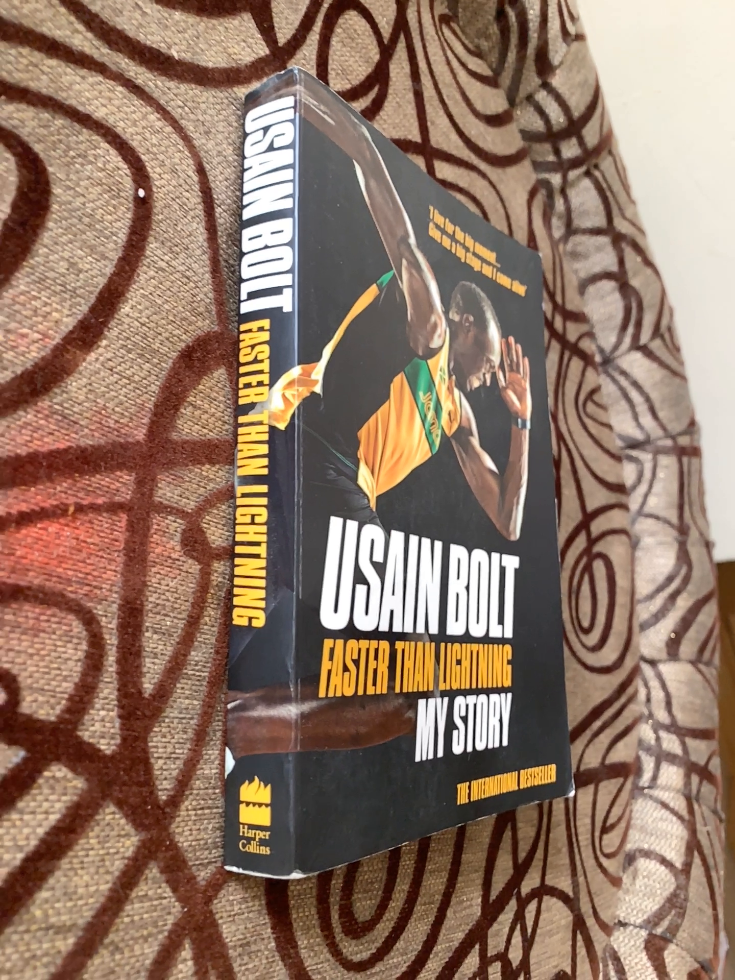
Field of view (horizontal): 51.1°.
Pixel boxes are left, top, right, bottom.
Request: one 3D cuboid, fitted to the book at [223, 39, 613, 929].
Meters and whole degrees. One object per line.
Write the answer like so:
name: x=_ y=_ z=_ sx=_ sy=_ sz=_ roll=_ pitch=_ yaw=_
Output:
book: x=0.024 y=-0.001 z=0.230 sx=0.141 sy=0.030 sz=0.200 roll=16 pitch=68 yaw=-50
